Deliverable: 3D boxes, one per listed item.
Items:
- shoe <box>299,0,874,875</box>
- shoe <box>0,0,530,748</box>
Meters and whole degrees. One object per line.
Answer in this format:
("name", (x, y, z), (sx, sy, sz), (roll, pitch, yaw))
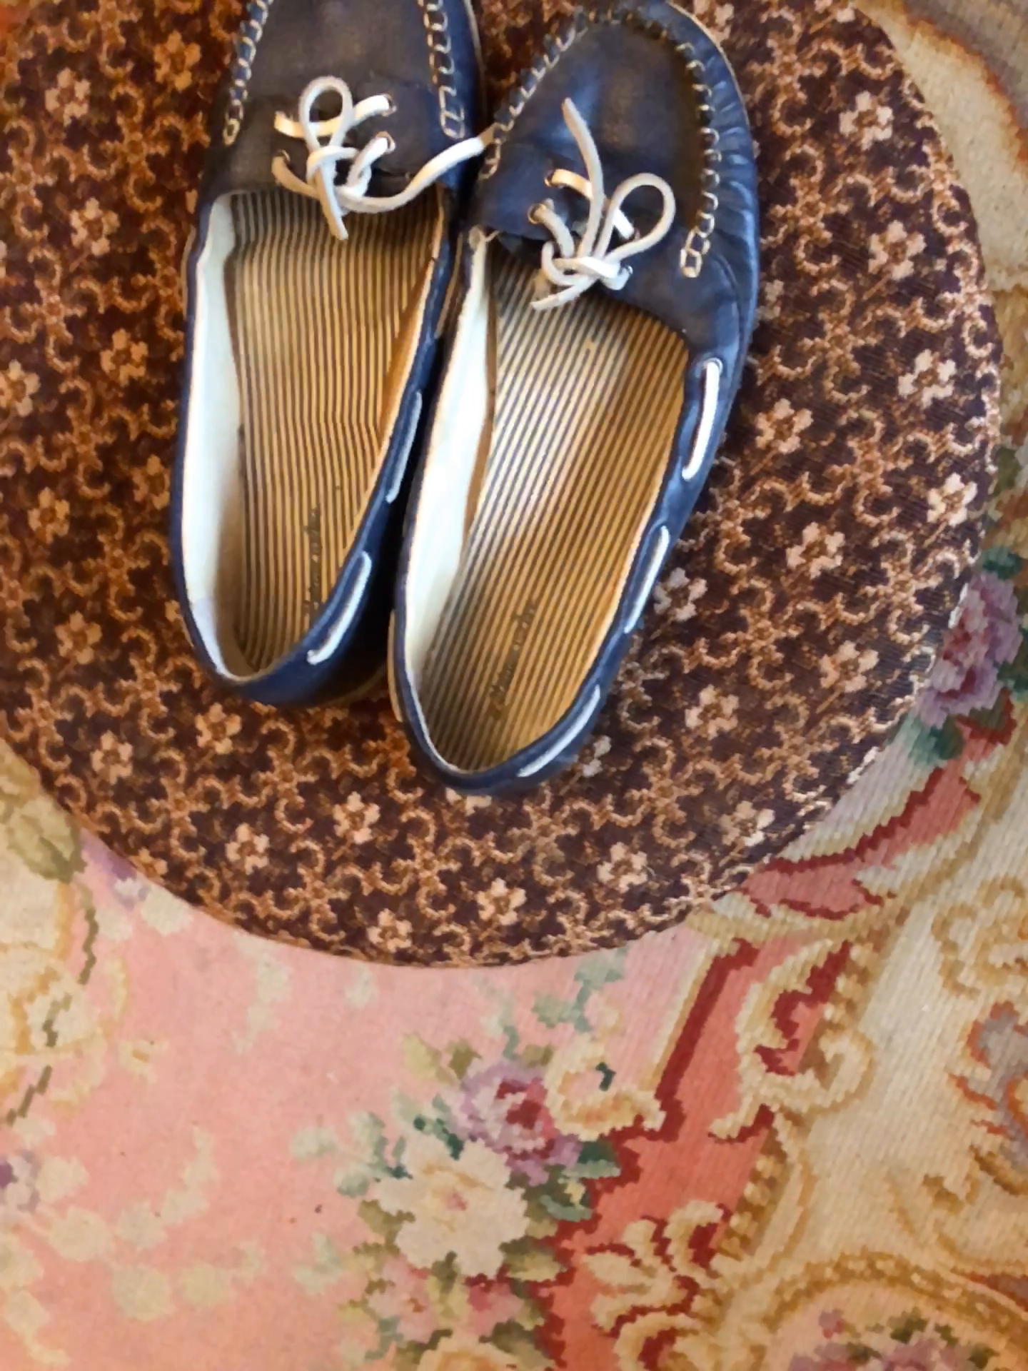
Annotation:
("shoe", (0.016, -0.086, 0.344), (0.090, 0.100, 0.250), (14, 101, 1))
("shoe", (-0.069, -0.117, 0.339), (0.090, 0.090, 0.250), (12, 94, 8))
